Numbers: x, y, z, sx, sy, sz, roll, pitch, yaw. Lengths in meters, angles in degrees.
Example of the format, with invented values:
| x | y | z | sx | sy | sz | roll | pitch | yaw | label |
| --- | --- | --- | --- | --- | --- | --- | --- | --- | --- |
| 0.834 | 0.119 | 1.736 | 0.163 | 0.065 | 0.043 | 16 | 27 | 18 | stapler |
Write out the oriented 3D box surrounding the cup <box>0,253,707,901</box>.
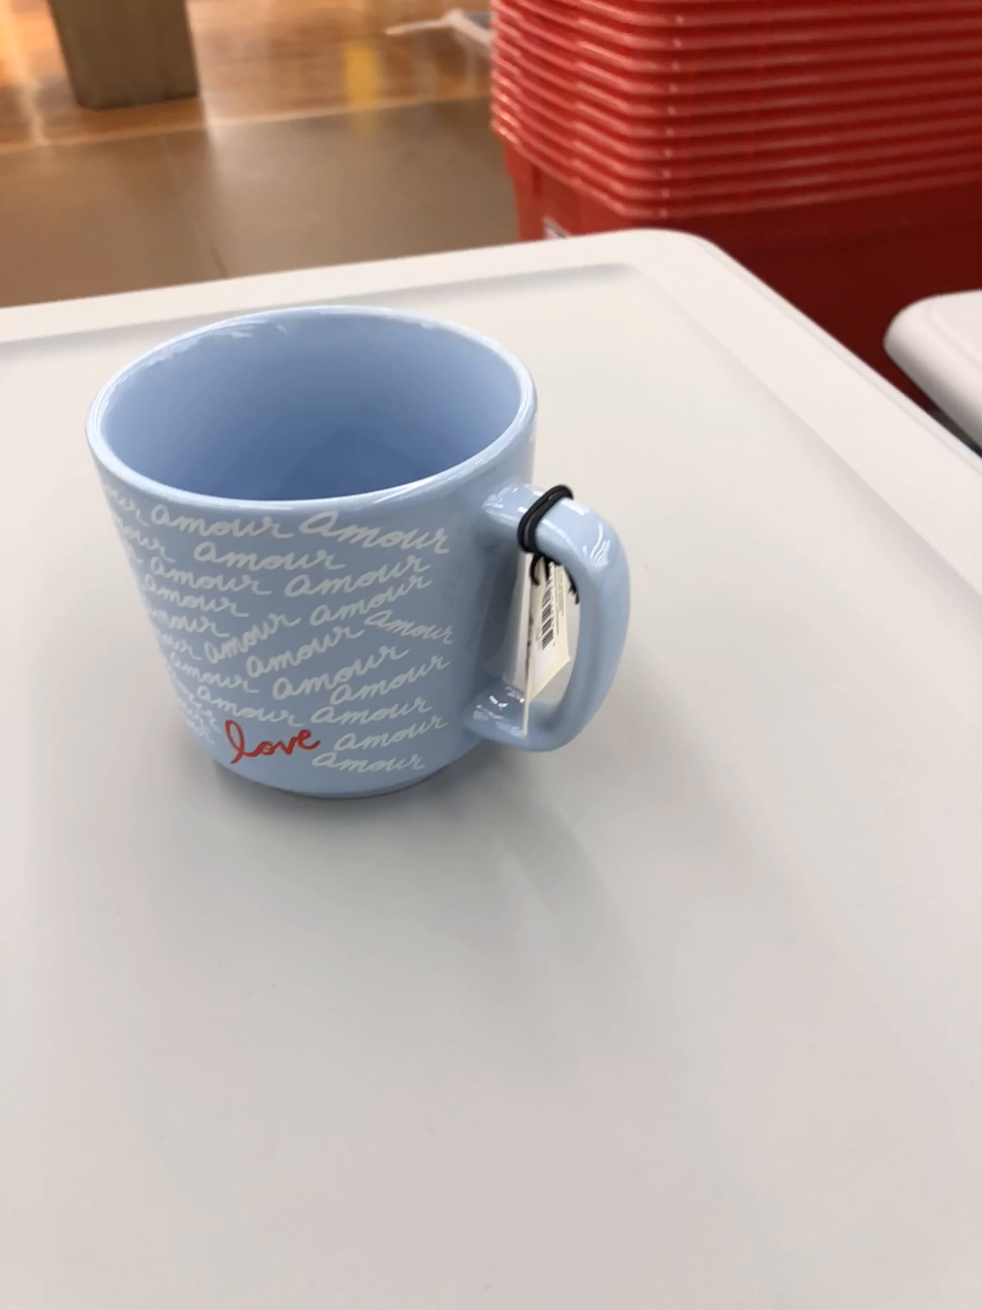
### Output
| x | y | z | sx | sy | sz | roll | pitch | yaw | label |
| --- | --- | --- | --- | --- | --- | --- | --- | --- | --- |
| -0.037 | -0.029 | 0.258 | 0.140 | 0.080 | 0.100 | 17 | 43 | 22 | cup |
